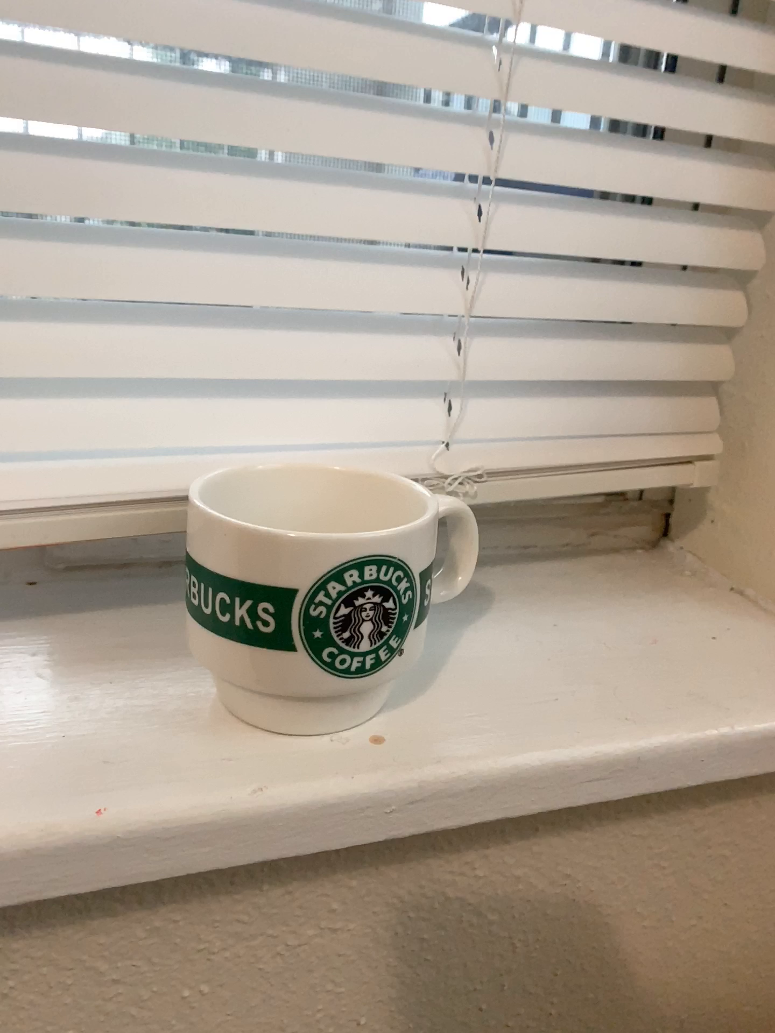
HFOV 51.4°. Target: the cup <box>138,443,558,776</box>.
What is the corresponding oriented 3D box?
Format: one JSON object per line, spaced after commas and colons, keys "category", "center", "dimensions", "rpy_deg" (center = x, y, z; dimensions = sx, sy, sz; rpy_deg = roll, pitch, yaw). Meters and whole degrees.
{"category": "cup", "center": [-0.013, 0.018, 0.243], "dimensions": [0.100, 0.060, 0.070], "rpy_deg": [-9, 22, -38]}
